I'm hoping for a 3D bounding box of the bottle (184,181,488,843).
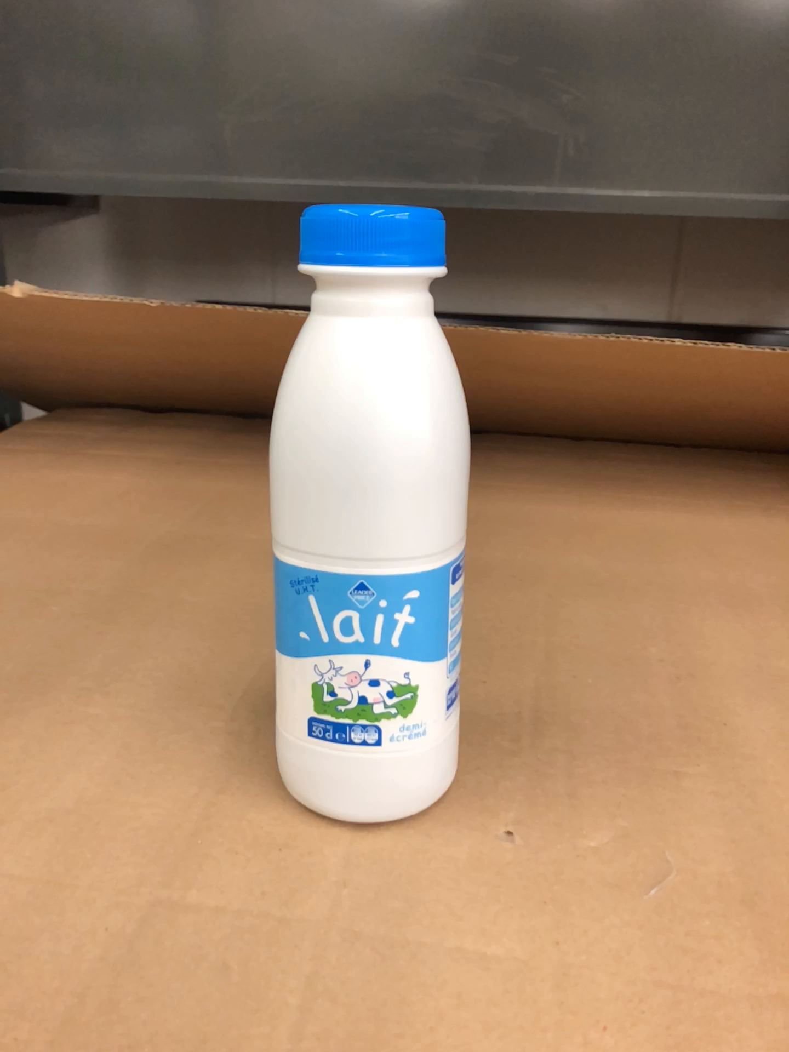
[{"bbox_3d":[-0.015,-0.006,0.277,0.070,0.189,0.070,2,19,-1],"label":"bottle"}]
